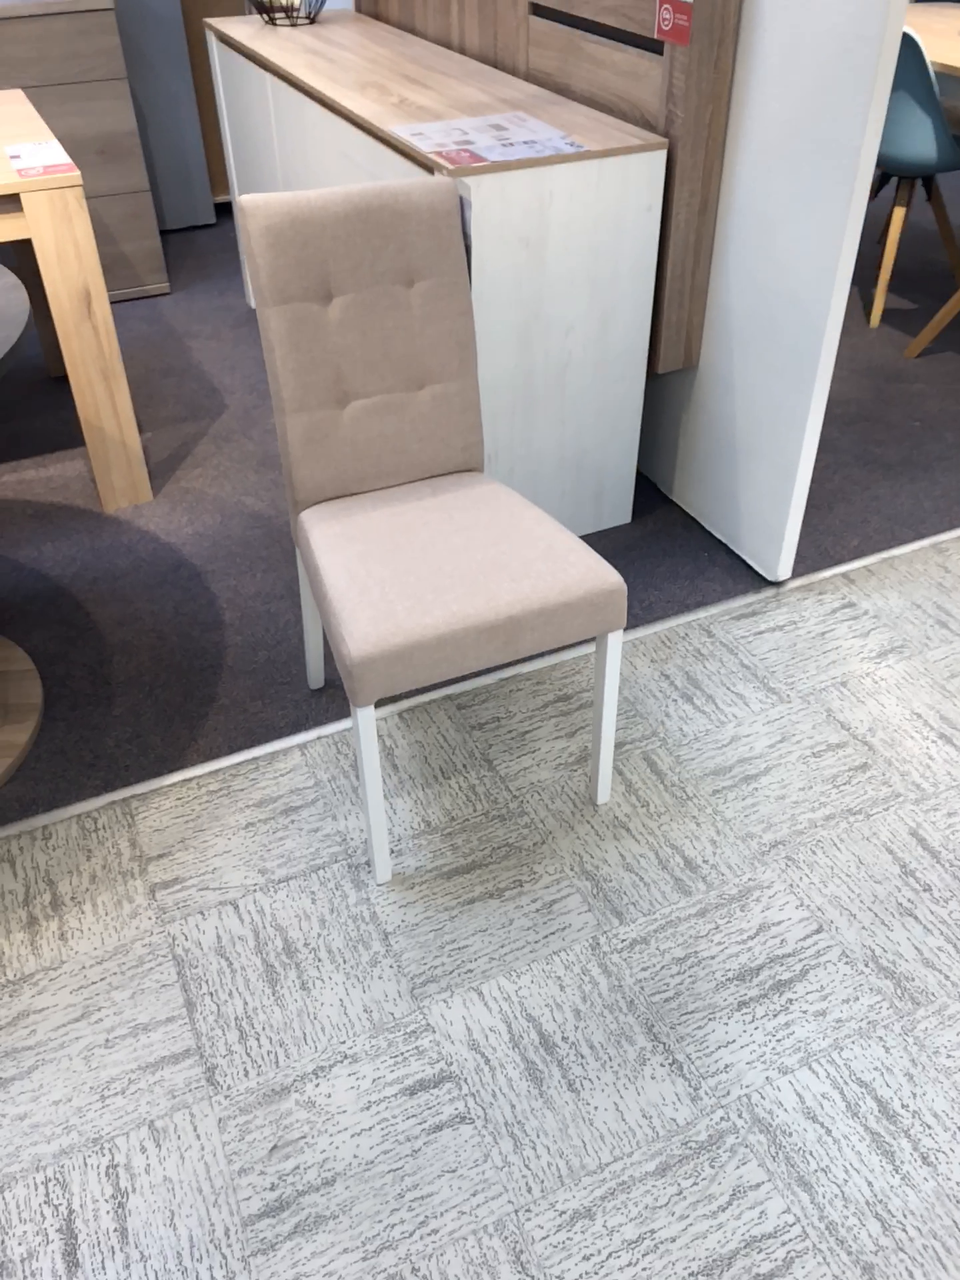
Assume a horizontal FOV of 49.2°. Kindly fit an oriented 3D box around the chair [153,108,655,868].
[{"bbox_3d":[-0.112,-0.218,1.498,0.431,0.855,0.532,-16,40,-19],"label":"chair"}]
